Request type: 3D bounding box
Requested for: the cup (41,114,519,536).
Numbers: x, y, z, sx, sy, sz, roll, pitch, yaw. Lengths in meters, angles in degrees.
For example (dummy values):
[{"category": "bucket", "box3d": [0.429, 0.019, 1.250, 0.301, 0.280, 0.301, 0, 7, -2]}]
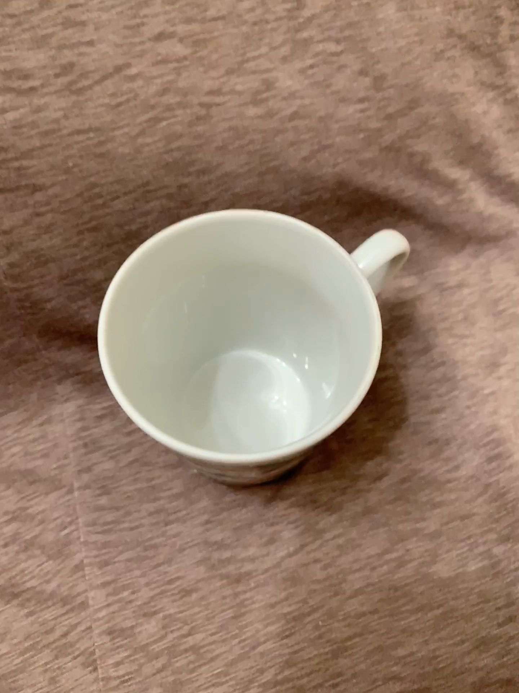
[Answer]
[{"category": "cup", "box3d": [0.007, -0.002, 0.200, 0.119, 0.089, 0.084, -25, 68, -8]}]
